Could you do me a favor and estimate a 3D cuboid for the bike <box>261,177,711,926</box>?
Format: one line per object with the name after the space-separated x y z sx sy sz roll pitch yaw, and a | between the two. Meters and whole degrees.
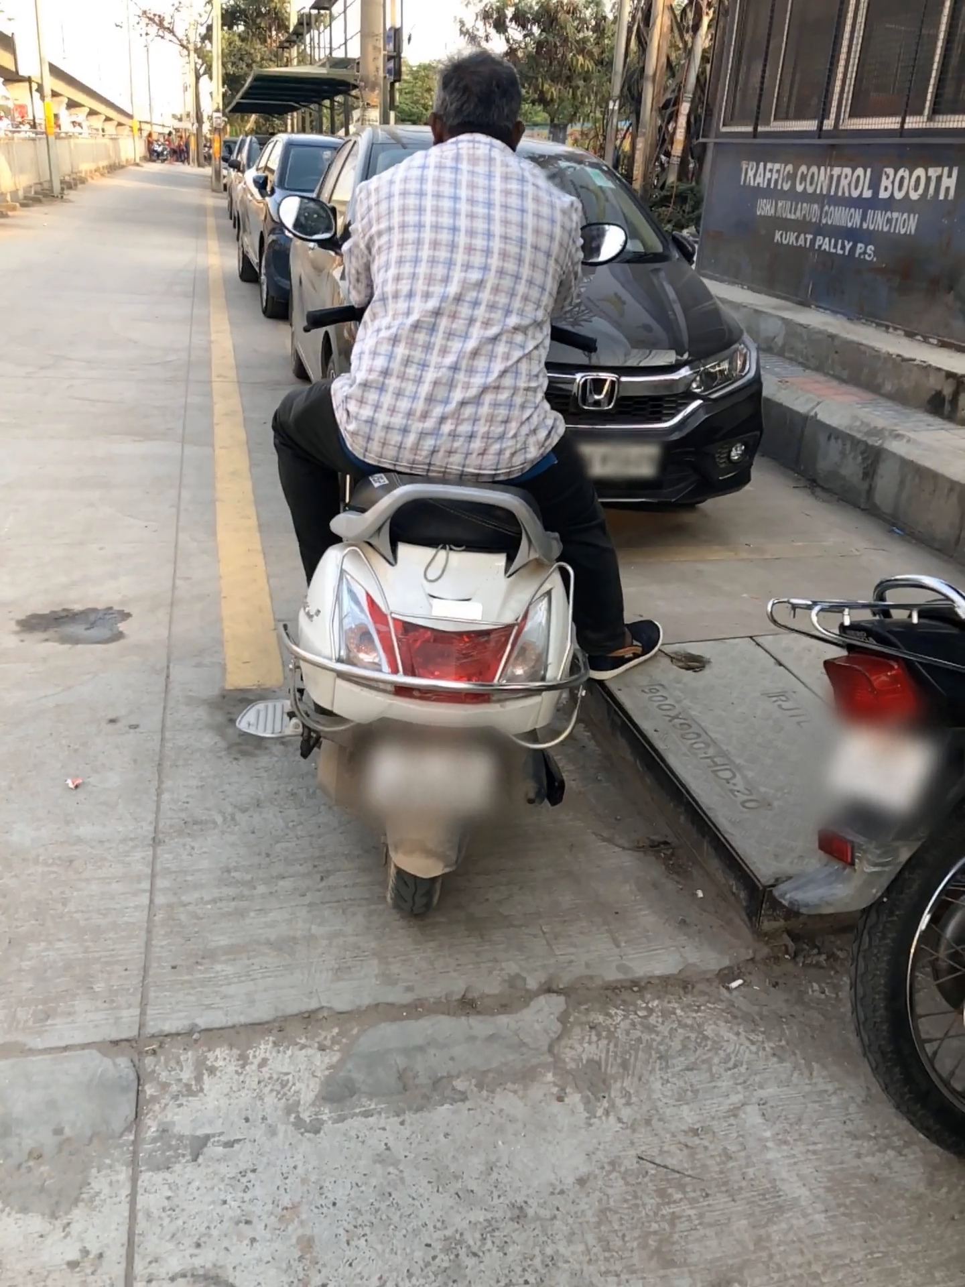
-0.025 -0.368 2.327 0.640 0.859 1.609 2 33 -3 | bike
